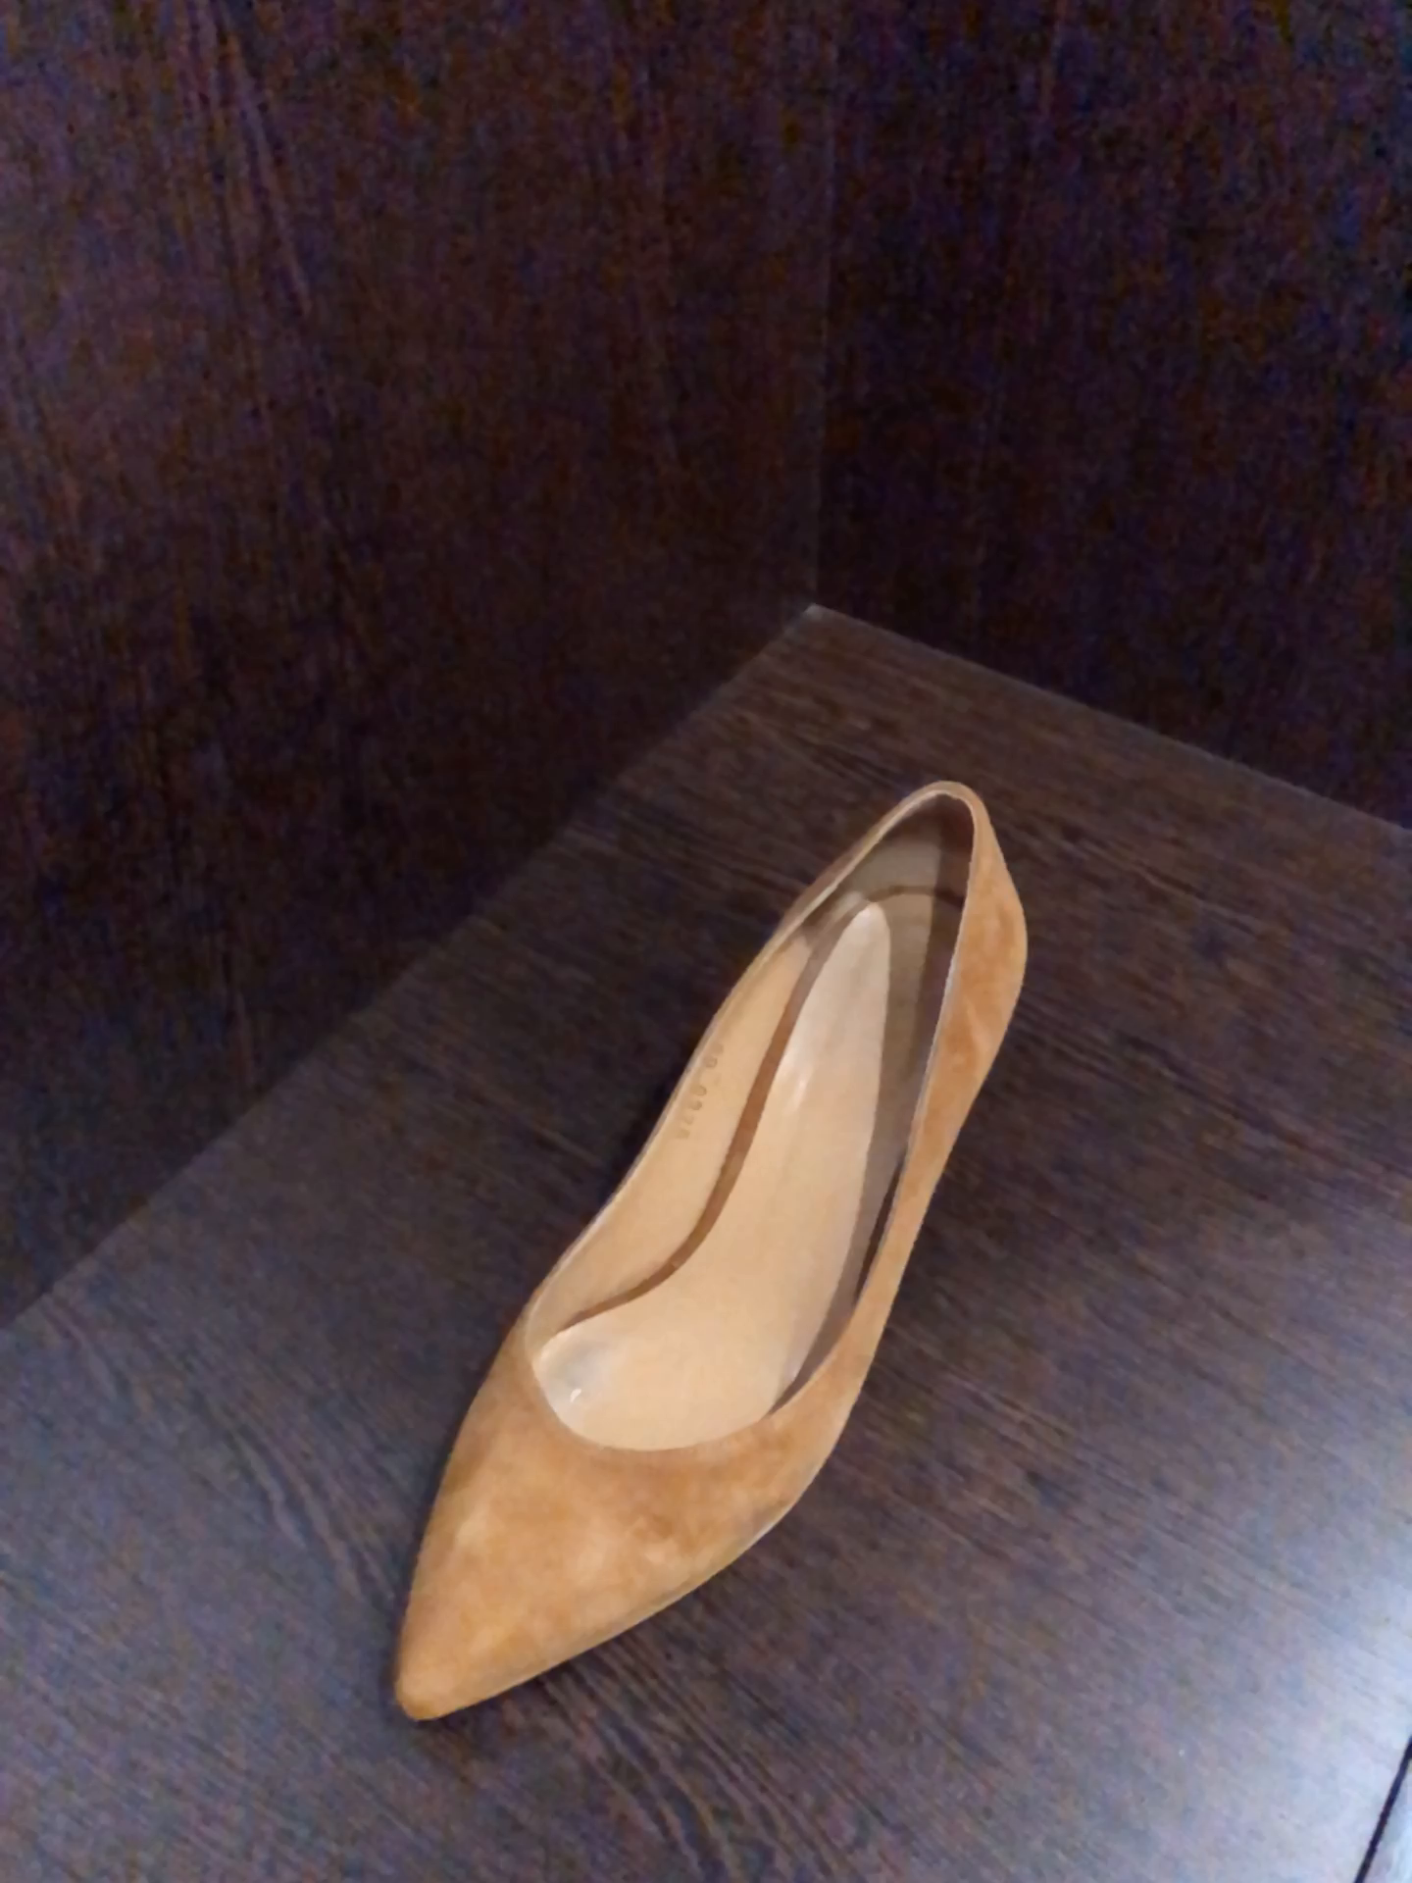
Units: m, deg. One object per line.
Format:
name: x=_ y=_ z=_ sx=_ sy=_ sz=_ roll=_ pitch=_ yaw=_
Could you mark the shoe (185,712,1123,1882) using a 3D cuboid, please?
shoe: x=0.008 y=0.069 z=0.397 sx=0.090 sy=0.100 sz=0.271 roll=22 pitch=51 yaw=21
